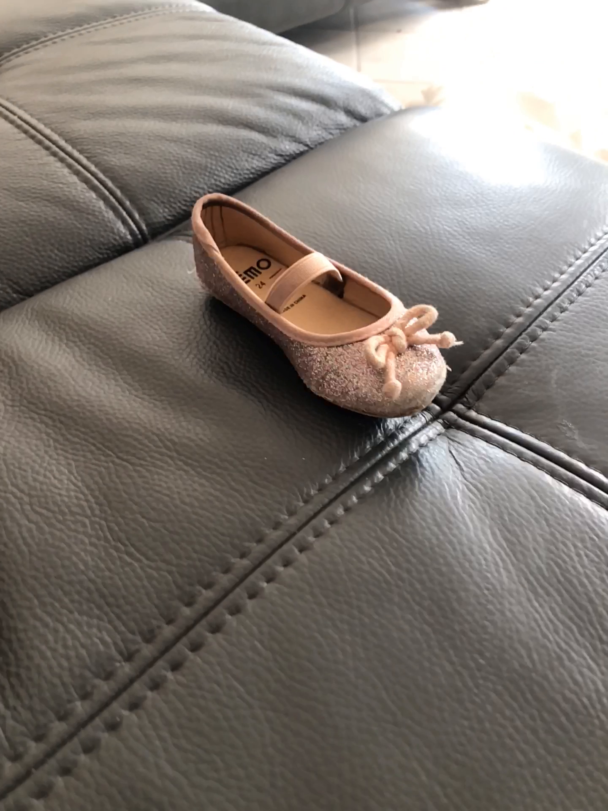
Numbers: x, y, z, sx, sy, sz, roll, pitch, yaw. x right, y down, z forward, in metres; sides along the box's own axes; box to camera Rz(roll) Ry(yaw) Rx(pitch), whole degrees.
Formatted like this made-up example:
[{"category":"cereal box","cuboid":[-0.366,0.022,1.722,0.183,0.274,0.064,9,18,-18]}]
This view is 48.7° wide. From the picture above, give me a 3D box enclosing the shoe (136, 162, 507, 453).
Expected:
[{"category":"shoe","cuboid":[0.002,-0.054,0.316,0.160,0.040,0.070,35,56,26]}]
